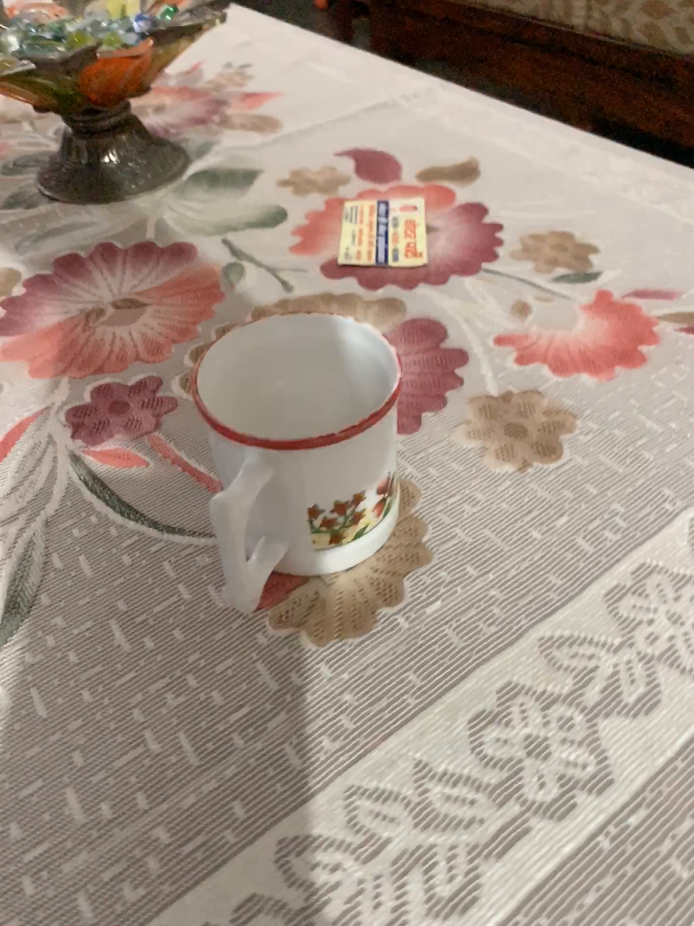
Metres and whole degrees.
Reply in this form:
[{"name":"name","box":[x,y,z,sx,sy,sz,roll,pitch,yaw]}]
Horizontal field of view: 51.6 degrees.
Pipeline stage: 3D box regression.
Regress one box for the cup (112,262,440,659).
[{"name":"cup","box":[-0.014,-0.005,0.247,0.070,0.080,0.100,9,46,14]}]
